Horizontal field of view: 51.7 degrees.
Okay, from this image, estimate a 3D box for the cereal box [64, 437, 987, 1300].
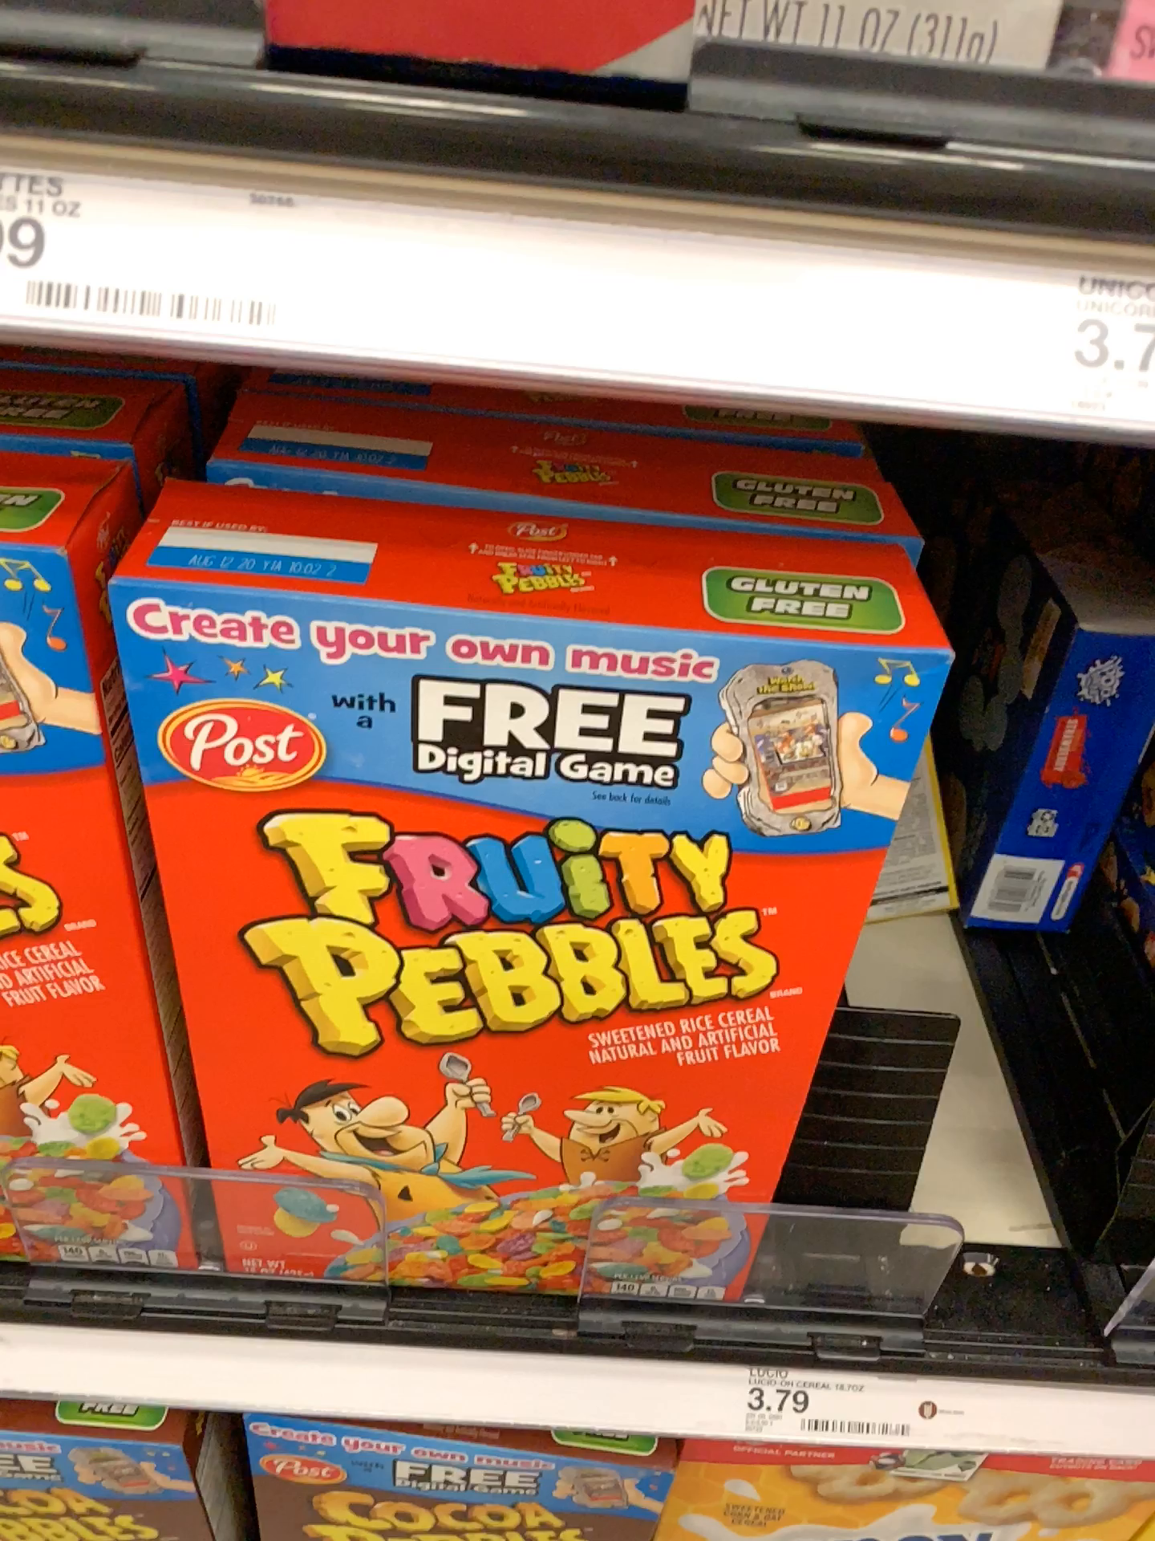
[{"bbox_3d":[-0.021,0.055,0.370,0.200,0.289,0.060,4,38,-2],"label":"cereal box"}]
